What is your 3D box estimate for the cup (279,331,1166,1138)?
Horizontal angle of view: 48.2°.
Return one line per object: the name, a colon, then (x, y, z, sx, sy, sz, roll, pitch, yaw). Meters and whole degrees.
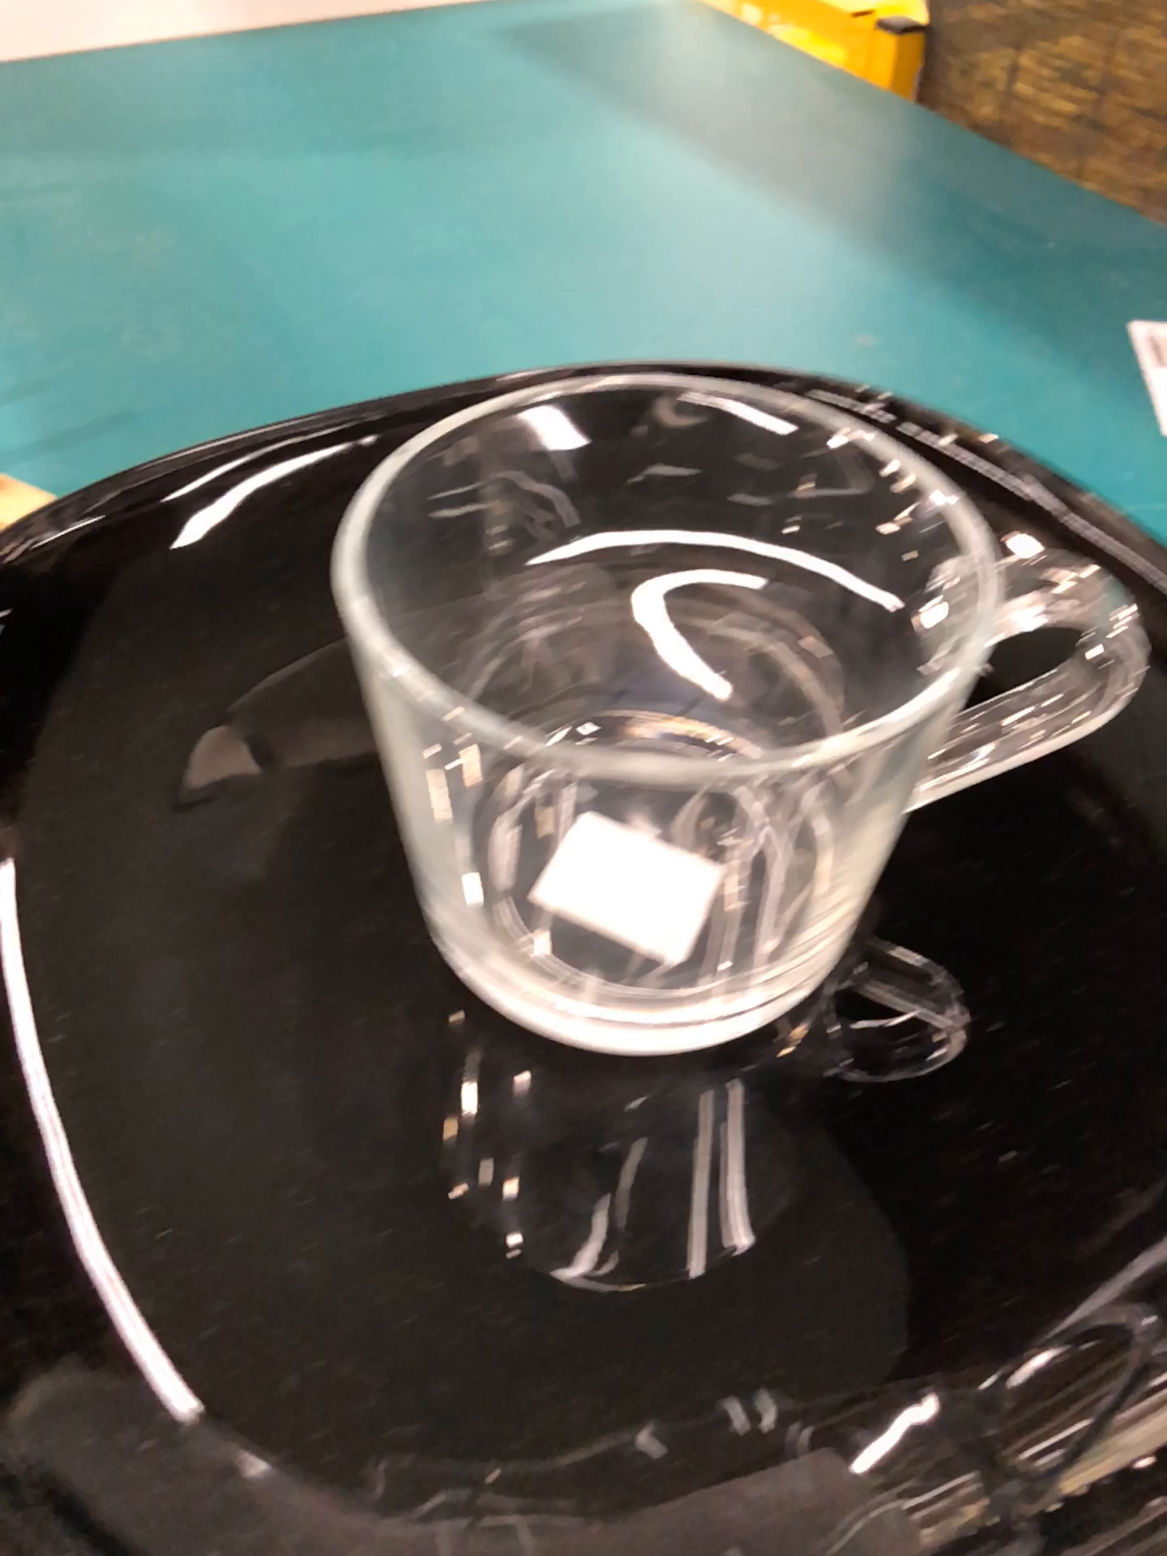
cup: (0.021, -0.016, 0.253, 0.140, 0.080, 0.120, -8, 44, -9)
